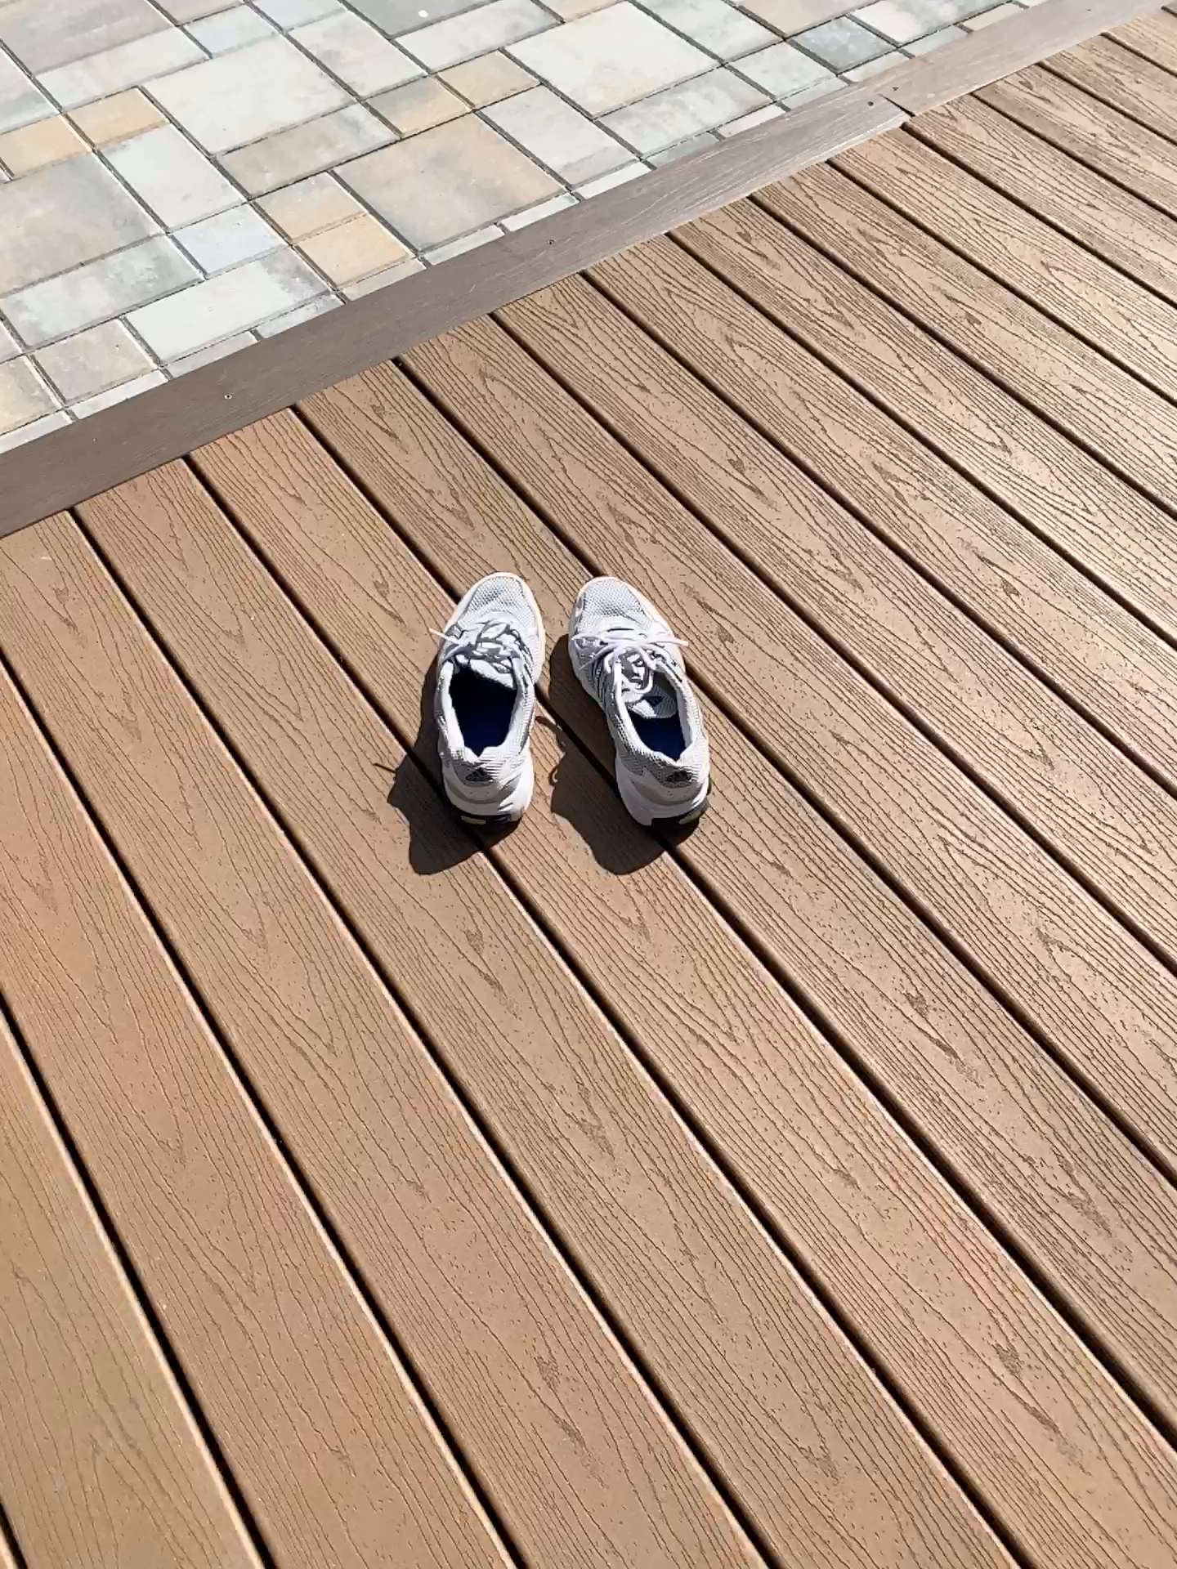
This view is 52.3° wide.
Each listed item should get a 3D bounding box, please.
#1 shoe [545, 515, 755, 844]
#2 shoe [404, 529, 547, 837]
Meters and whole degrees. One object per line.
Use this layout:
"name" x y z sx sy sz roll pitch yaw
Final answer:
"shoe" 0.051 -0.107 1.158 0.120 0.100 0.301 -12 59 -7
"shoe" -0.105 -0.102 1.159 0.120 0.100 0.291 -2 58 -1
